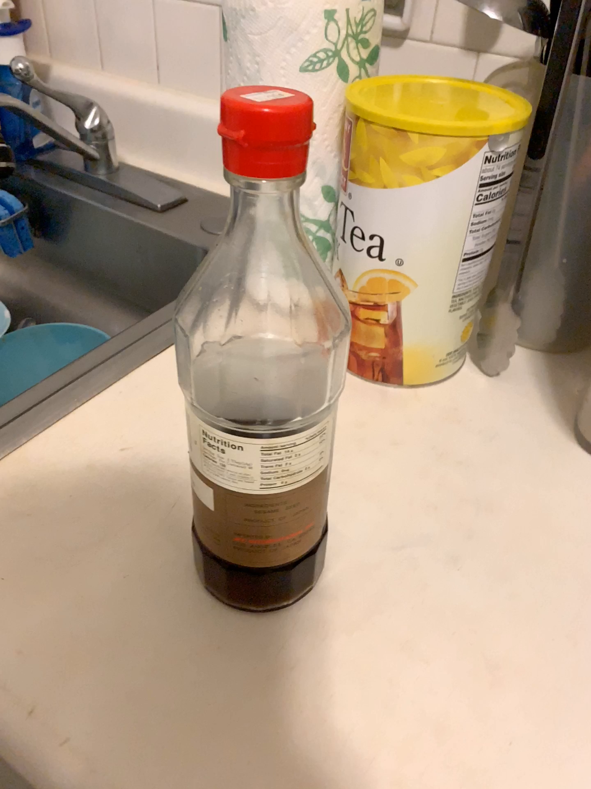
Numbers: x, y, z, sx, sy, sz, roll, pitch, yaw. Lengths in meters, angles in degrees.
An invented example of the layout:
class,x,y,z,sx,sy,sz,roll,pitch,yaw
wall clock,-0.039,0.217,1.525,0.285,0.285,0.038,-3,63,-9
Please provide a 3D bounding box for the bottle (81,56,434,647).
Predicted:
class,x,y,z,sx,sy,sz,roll,pitch,yaw
bottle,-0.015,-0.003,0.293,0.090,0.259,0.090,3,40,-2
